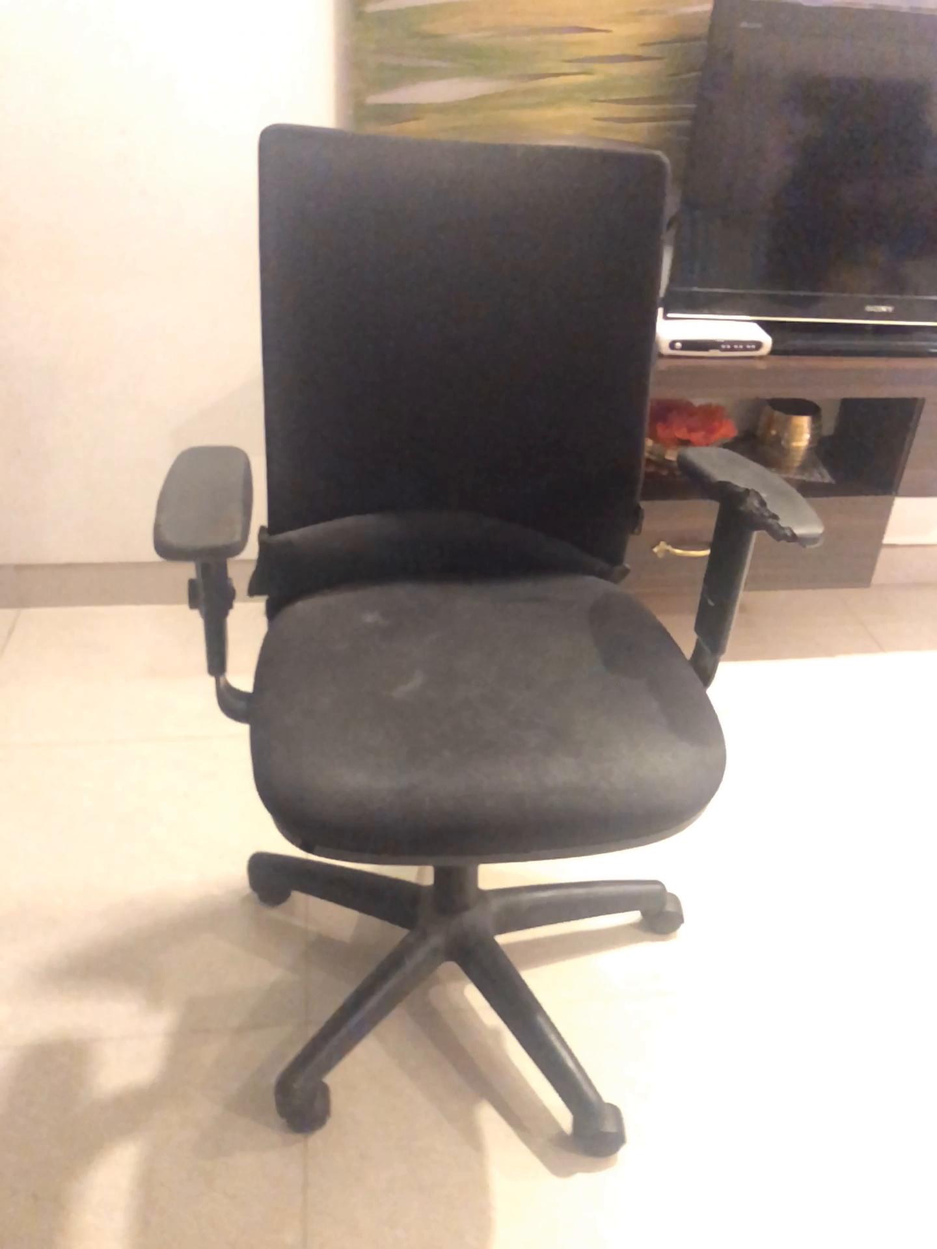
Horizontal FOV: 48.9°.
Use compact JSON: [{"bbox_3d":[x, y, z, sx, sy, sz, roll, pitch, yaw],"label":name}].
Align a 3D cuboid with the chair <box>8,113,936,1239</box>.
[{"bbox_3d":[0.006,0.035,1.214,0.710,1.042,0.705,-4,34,-10],"label":"chair"}]
